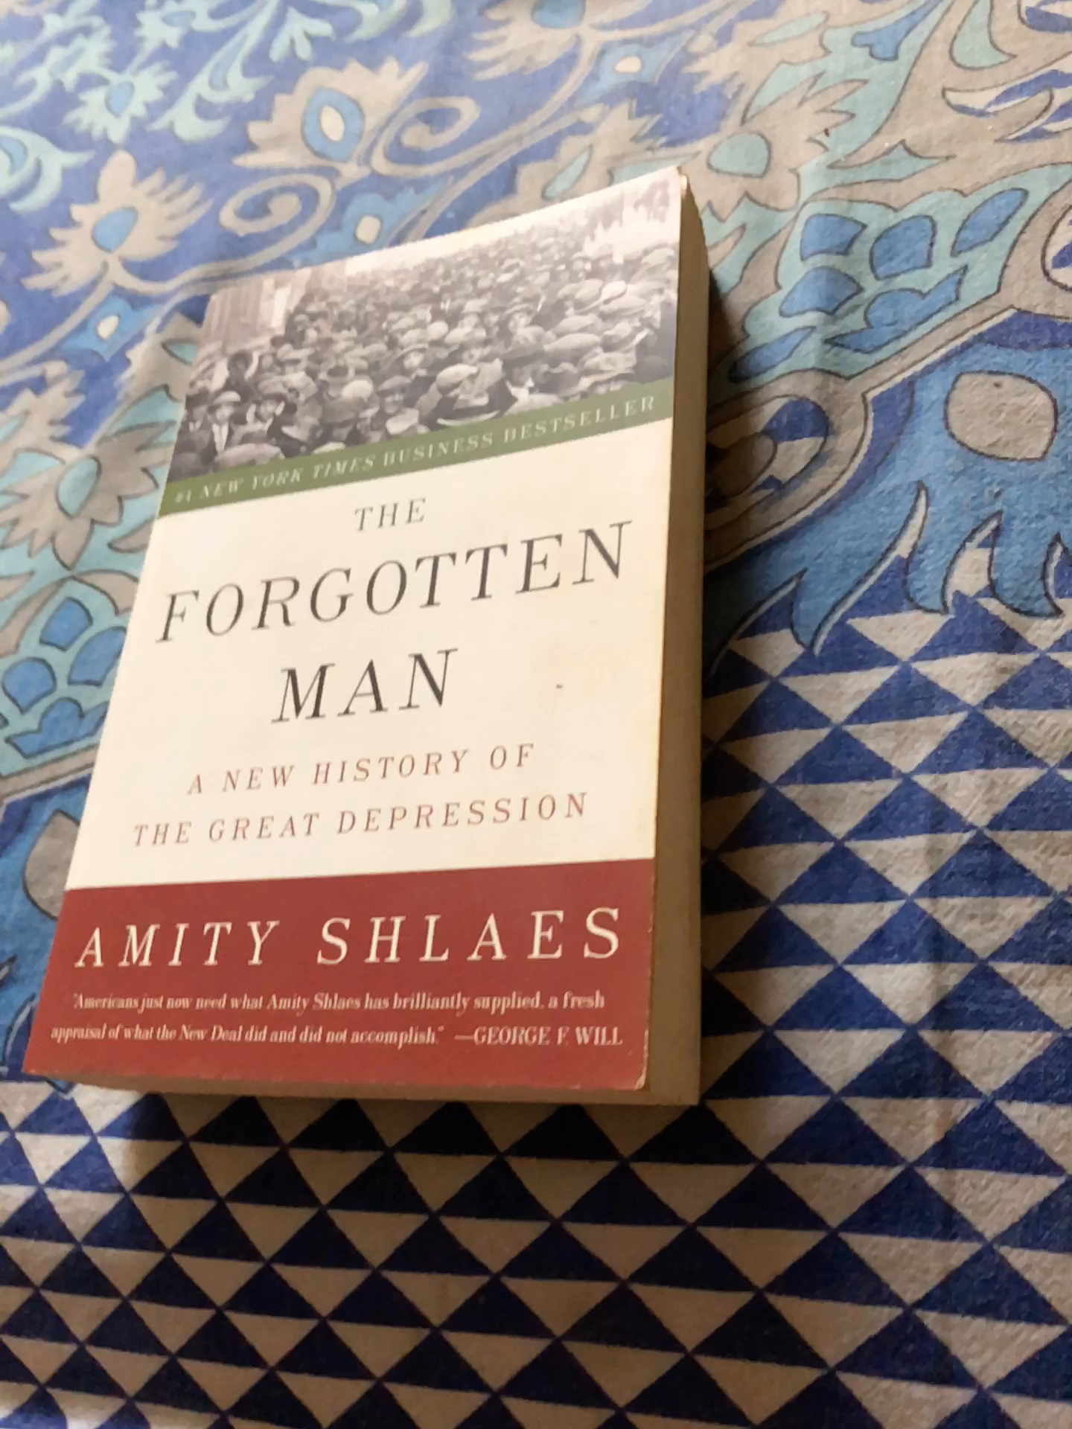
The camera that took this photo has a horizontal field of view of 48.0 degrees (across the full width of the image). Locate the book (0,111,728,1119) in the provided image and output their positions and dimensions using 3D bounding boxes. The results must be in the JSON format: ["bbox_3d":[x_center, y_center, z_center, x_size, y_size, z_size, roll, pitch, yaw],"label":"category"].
[{"bbox_3d":[-0.035,-0.019,0.264,0.140,0.050,0.200,-7,65,21],"label":"book"}]
